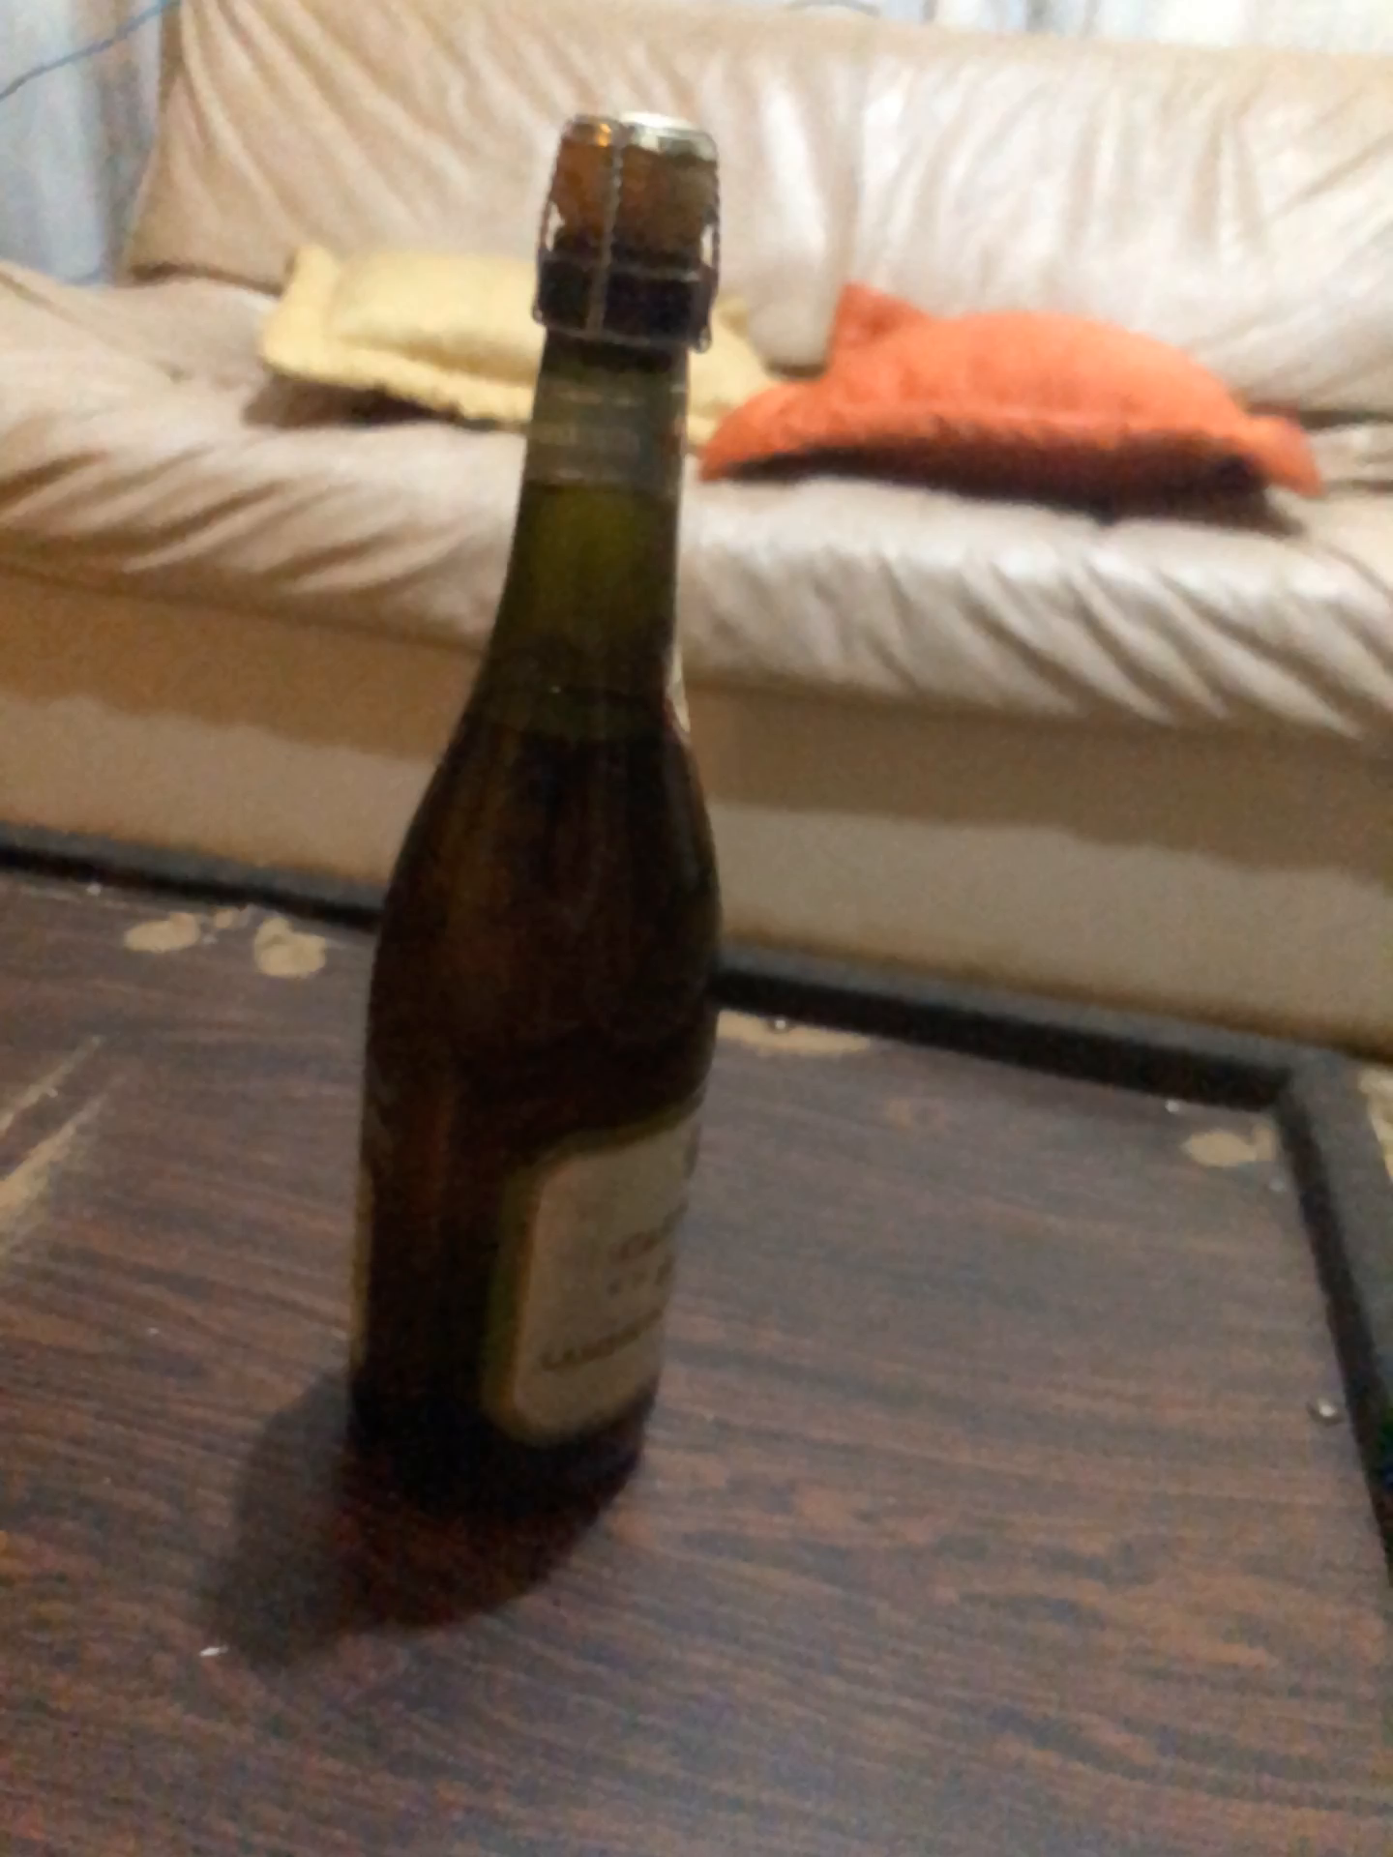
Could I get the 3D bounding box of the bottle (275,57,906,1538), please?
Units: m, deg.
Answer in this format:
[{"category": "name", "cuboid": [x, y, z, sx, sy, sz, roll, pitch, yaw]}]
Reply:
[{"category": "bottle", "cuboid": [-0.028, -0.019, 0.352, 0.090, 0.298, 0.091, 5, 25, -2]}]
